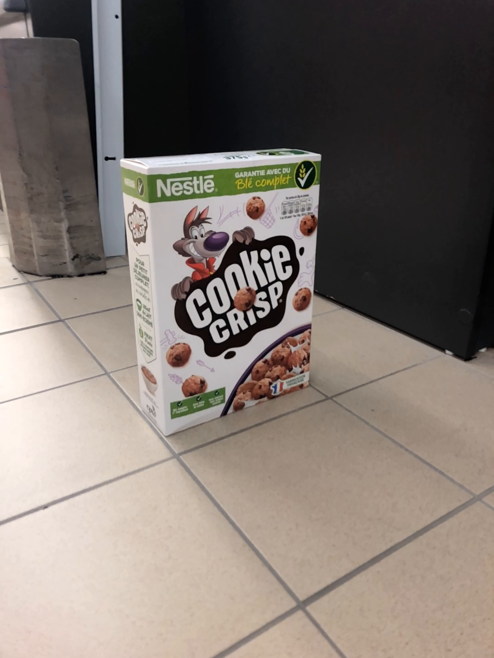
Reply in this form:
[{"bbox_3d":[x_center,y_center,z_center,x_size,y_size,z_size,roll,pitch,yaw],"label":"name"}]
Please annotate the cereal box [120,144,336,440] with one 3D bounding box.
[{"bbox_3d":[-0.012,-0.043,0.563,0.201,0.269,0.060,-15,28,-29],"label":"cereal box"}]
